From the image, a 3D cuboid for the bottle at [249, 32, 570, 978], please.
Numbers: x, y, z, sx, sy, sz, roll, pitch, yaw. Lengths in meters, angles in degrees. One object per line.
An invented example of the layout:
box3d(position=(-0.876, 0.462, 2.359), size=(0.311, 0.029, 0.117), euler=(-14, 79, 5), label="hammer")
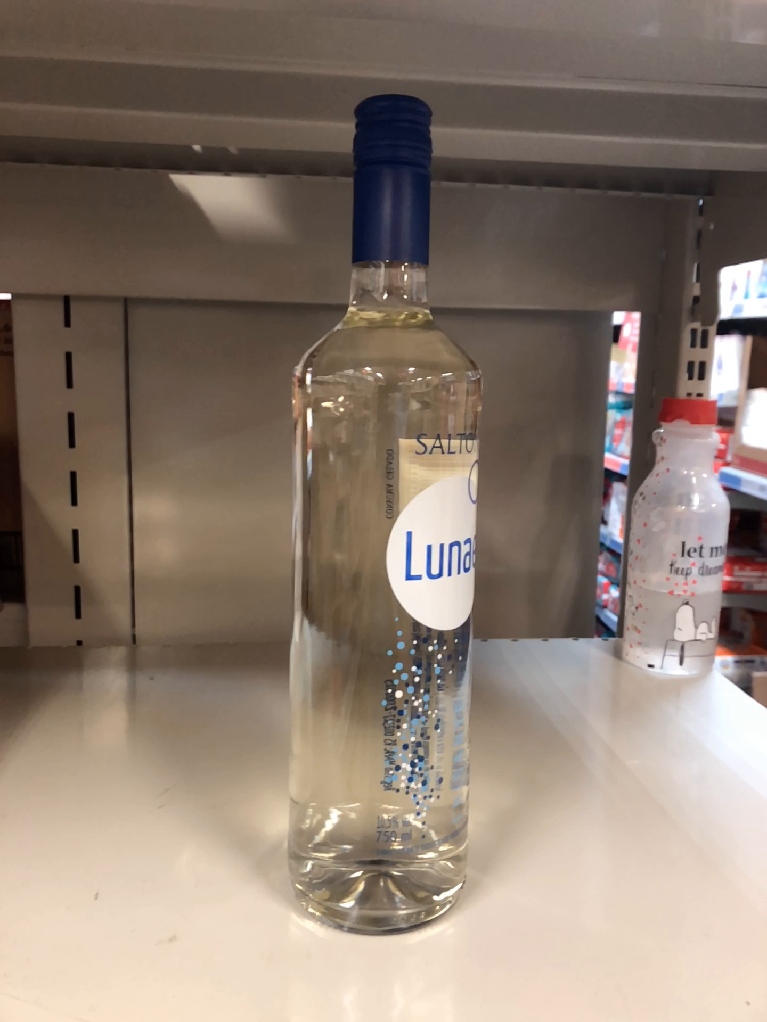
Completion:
box3d(position=(0.005, 0.002, 0.329), size=(0.080, 0.309, 0.080), euler=(1, 11, 0), label="bottle")
